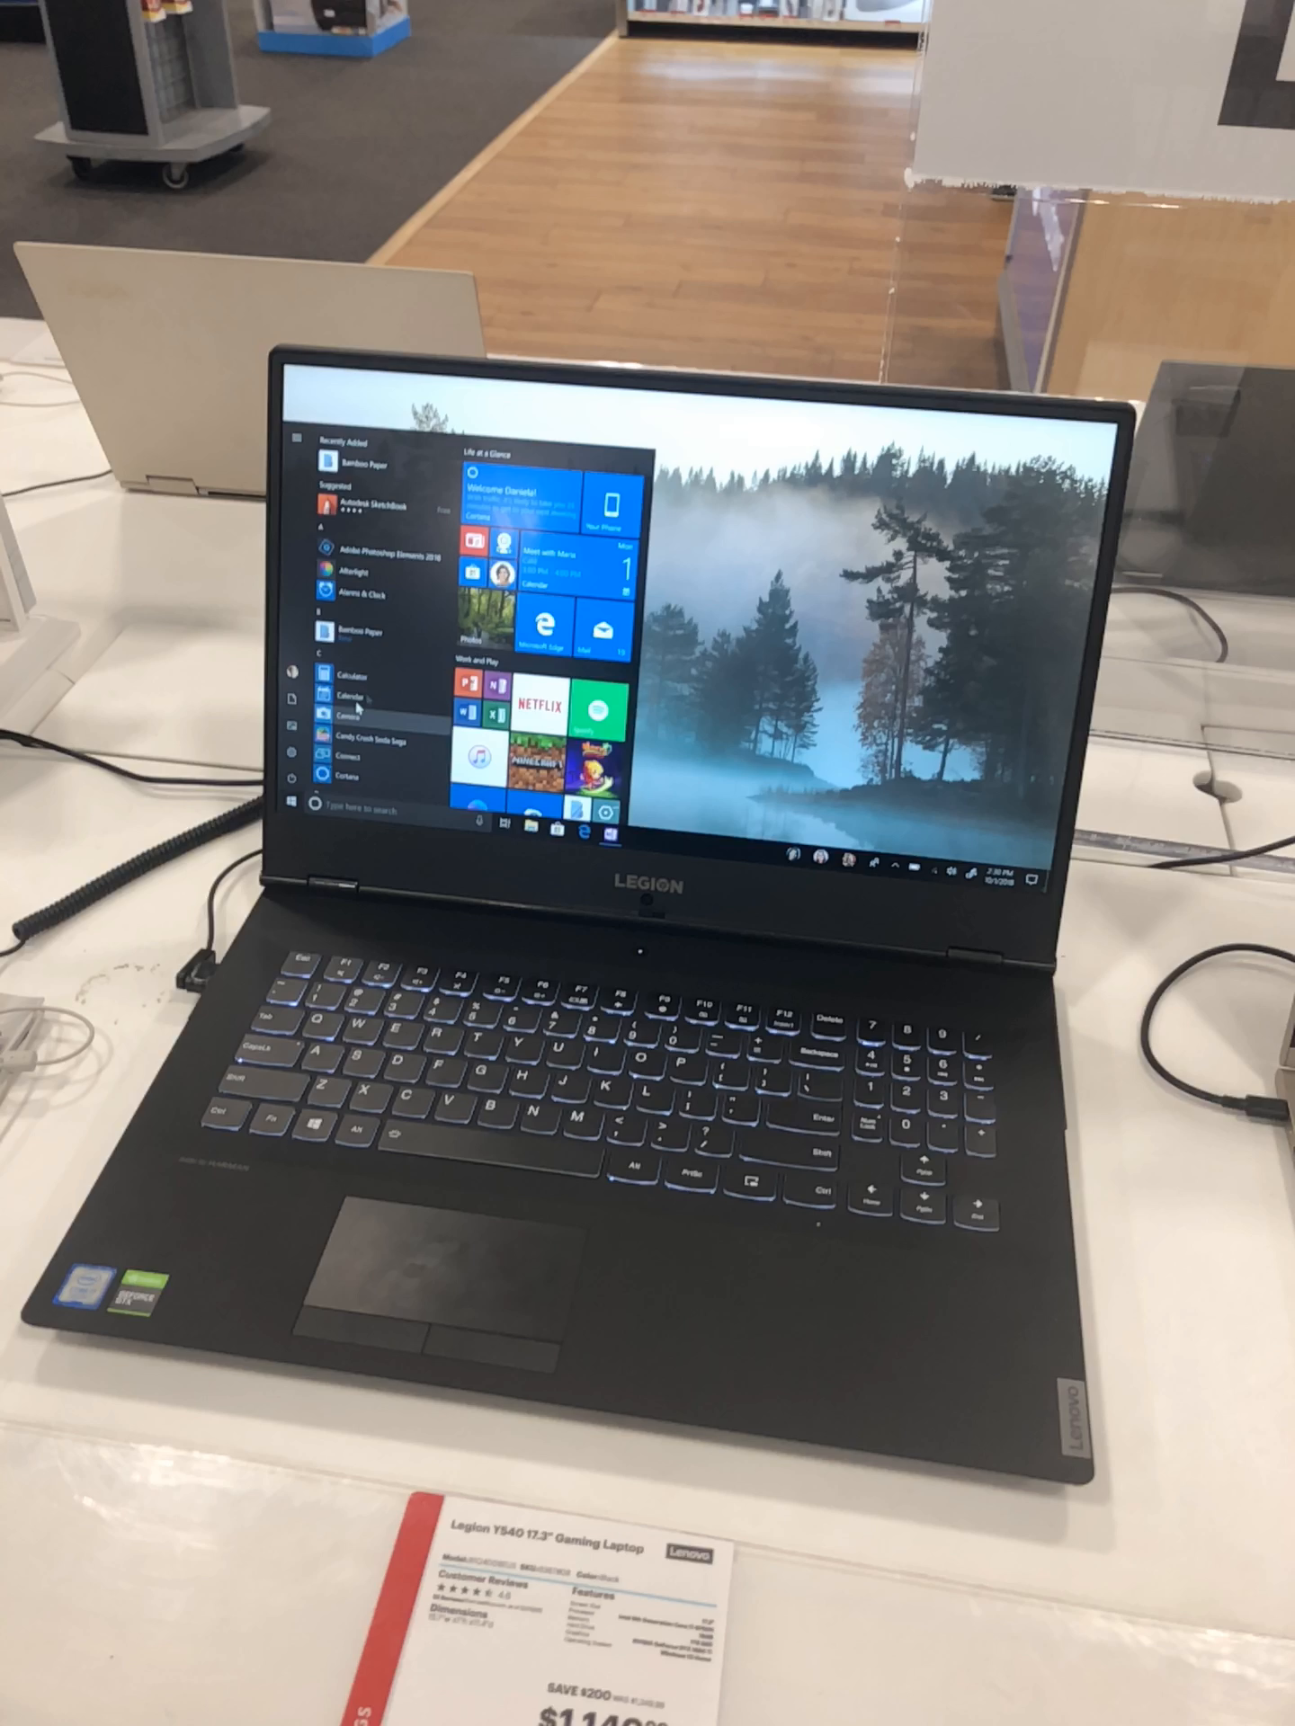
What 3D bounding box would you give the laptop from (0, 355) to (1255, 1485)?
[{"bbox_3d":[-0.018,-0.010,0.580,0.382,0.241,0.359,7,38,5],"label":"laptop"}]
